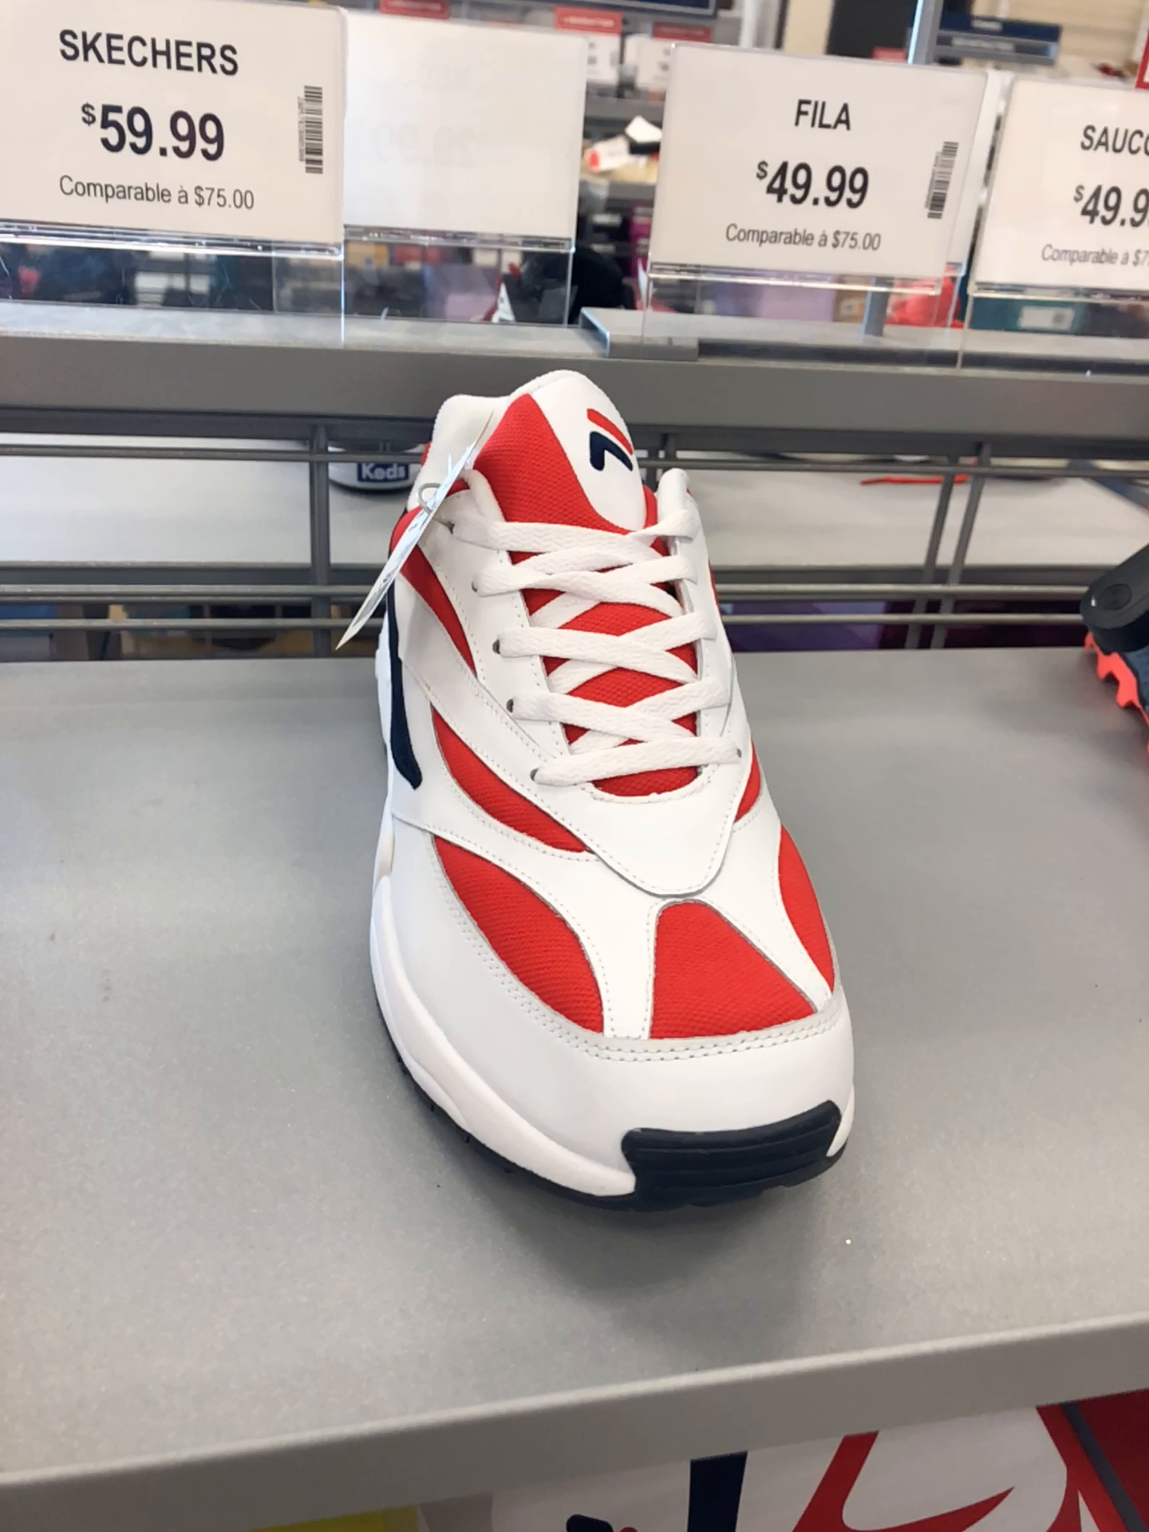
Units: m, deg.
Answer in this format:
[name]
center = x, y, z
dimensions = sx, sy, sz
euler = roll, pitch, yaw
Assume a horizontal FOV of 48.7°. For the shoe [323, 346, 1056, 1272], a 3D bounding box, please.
[shoe]
center = -0.004, -0.020, 0.365
dimensions = 0.120, 0.129, 0.272
euler = -2, 31, -13
